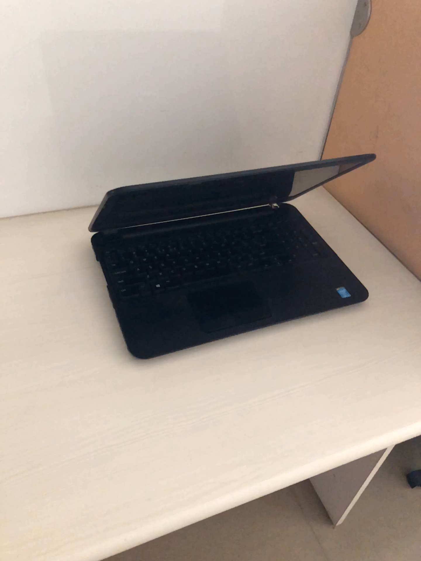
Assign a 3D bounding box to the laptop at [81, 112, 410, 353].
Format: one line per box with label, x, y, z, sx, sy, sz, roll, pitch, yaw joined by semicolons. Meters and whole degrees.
laptop;0.034;-0.092;0.664;0.365;0.177;0.248;-11;46;-22
